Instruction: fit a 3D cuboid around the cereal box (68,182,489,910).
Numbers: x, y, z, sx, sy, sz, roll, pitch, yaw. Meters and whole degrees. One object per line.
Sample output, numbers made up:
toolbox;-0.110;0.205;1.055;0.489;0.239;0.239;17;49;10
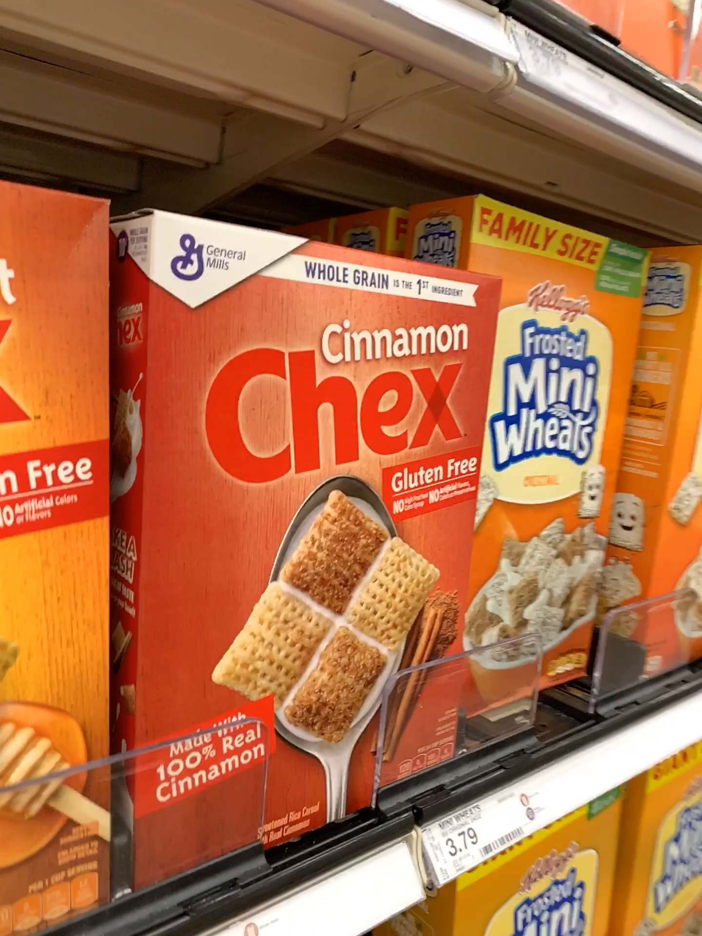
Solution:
cereal box;-0.032;0.033;0.375;0.200;0.299;0.060;-2;10;-39

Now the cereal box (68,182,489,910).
cereal box;-0.032;0.033;0.375;0.200;0.299;0.060;-2;10;-39
